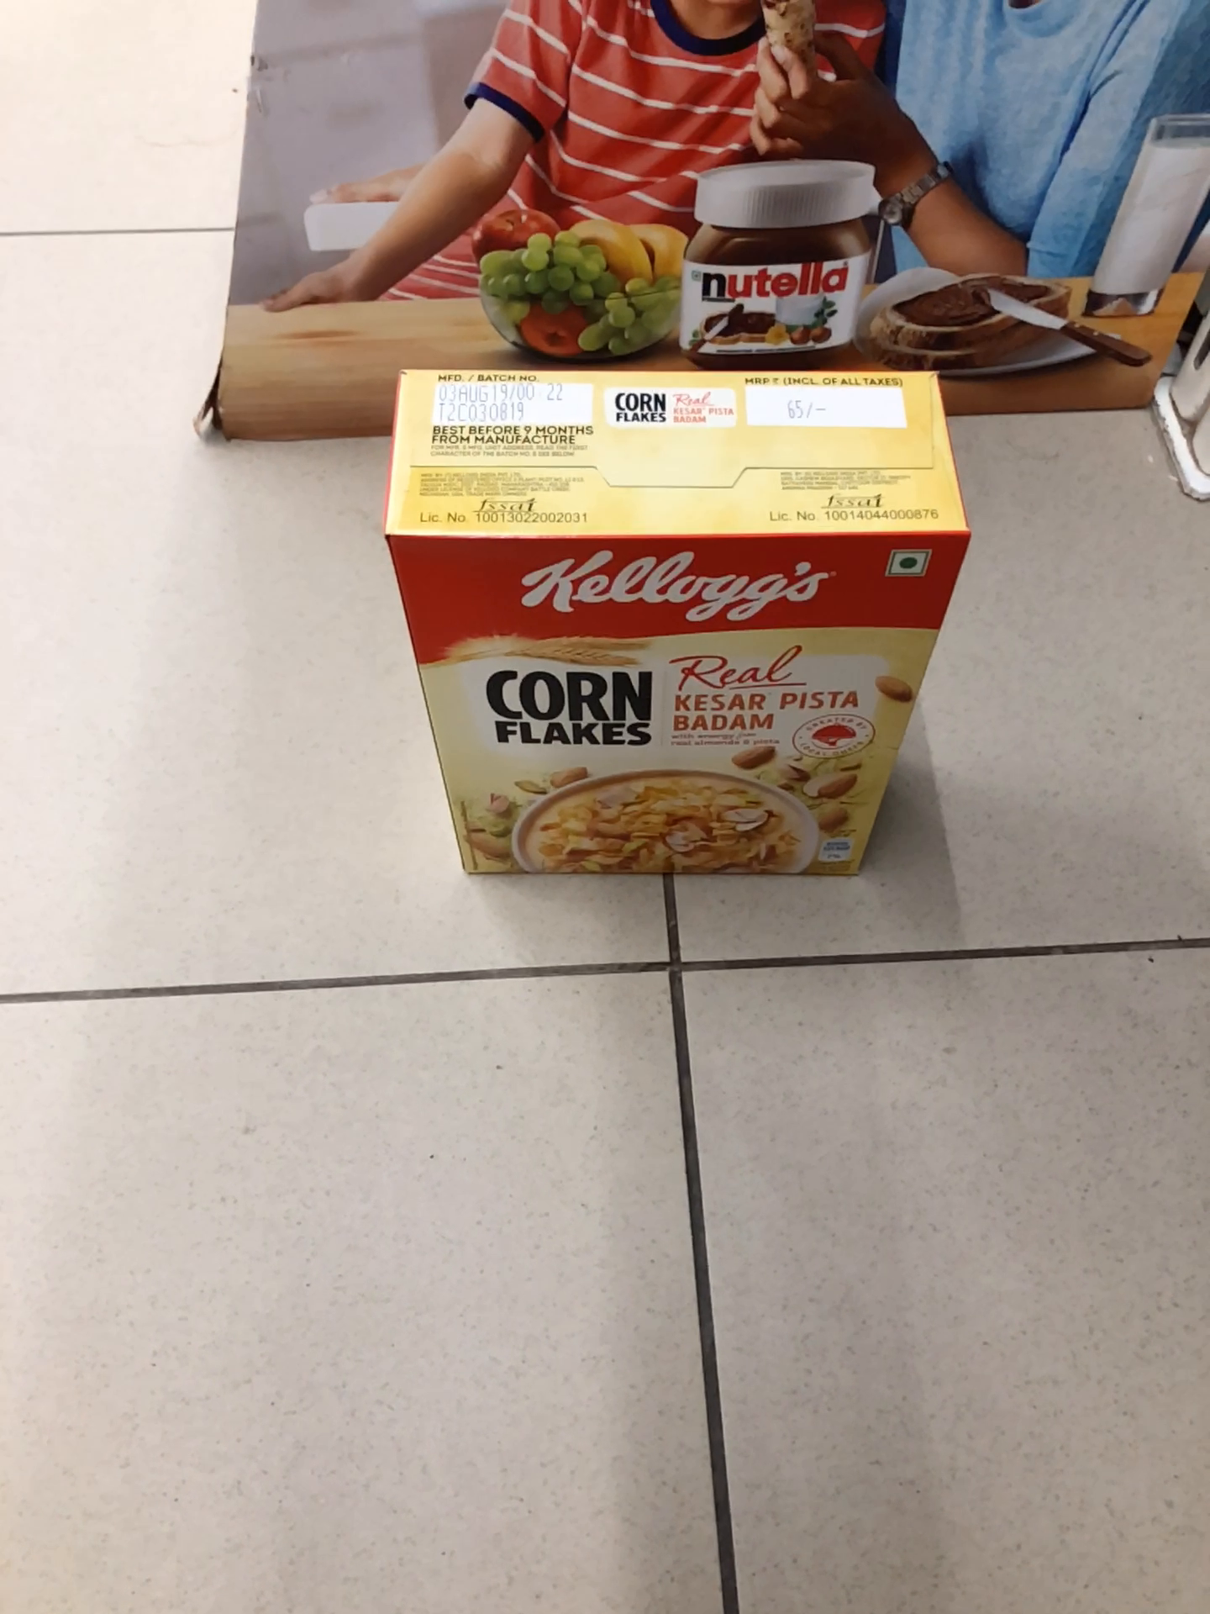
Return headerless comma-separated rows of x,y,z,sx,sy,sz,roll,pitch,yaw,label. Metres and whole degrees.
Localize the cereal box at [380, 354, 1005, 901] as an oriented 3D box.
0.018,-0.041,0.387,0.140,0.169,0.060,-1,58,-2,cereal box
